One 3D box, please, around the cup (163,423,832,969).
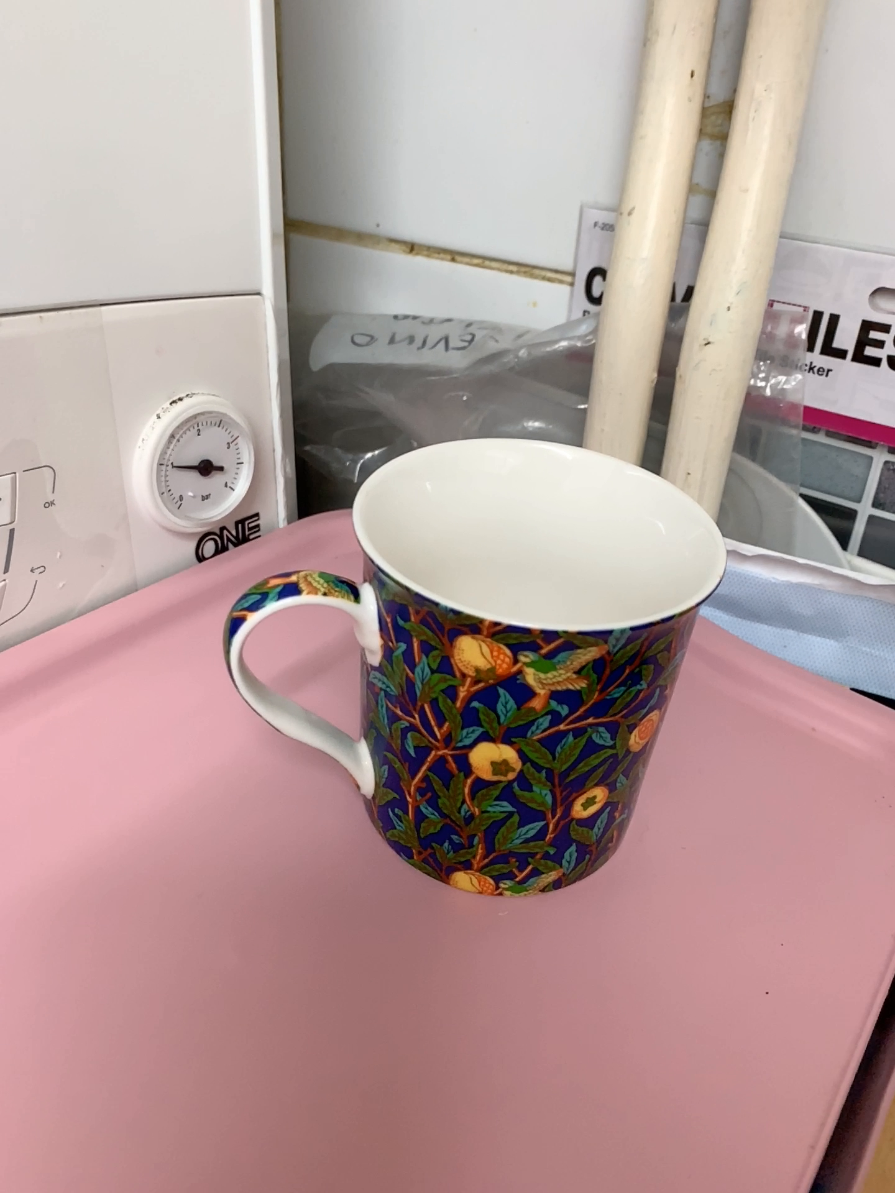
[{"bbox_3d":[0.002,0.014,0.212,0.120,0.079,0.081,-5,31,-13],"label":"cup"}]
